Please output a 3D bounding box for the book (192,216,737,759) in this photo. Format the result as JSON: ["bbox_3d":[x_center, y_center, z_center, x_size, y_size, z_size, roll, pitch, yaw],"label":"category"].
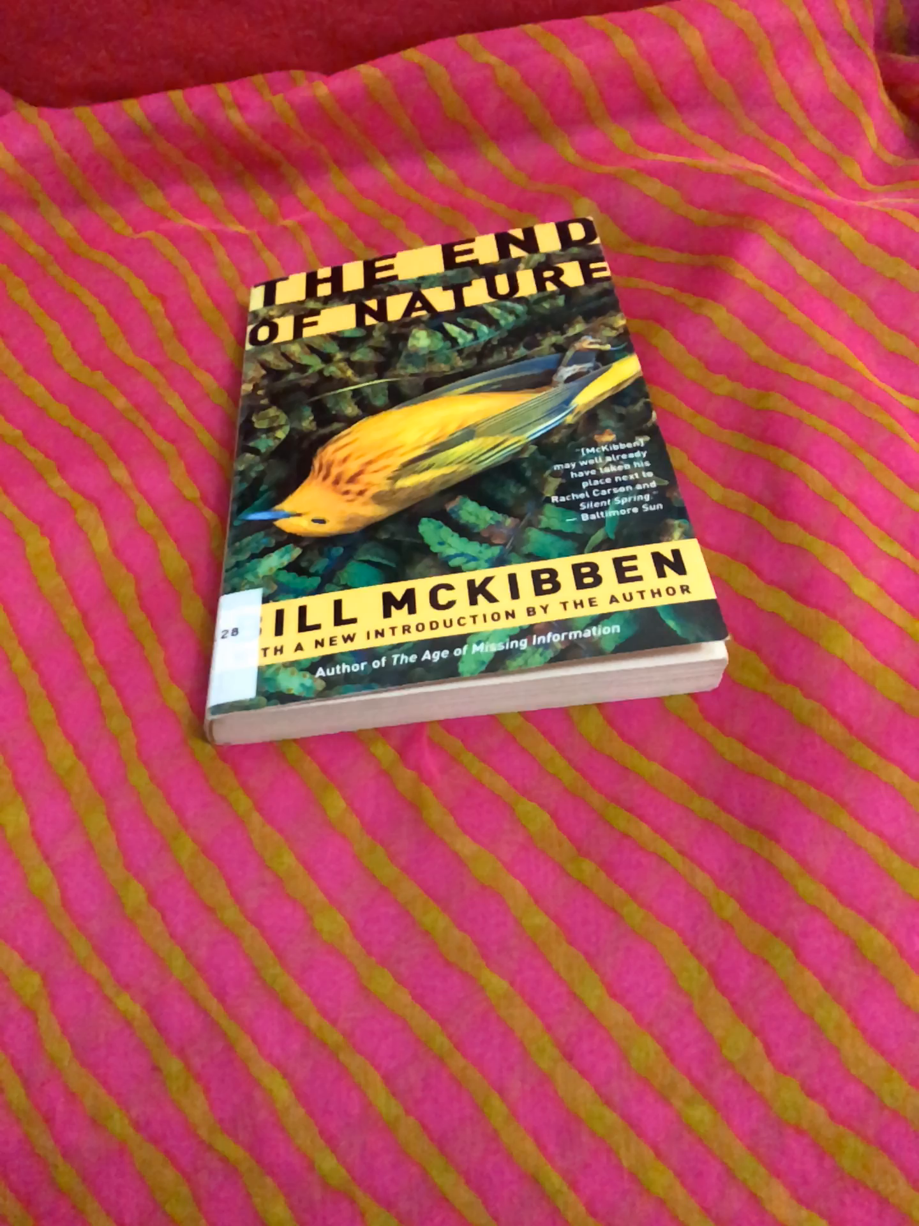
[{"bbox_3d":[-0.007,-0.052,0.312,0.131,0.020,0.194,-7,51,1],"label":"book"}]
